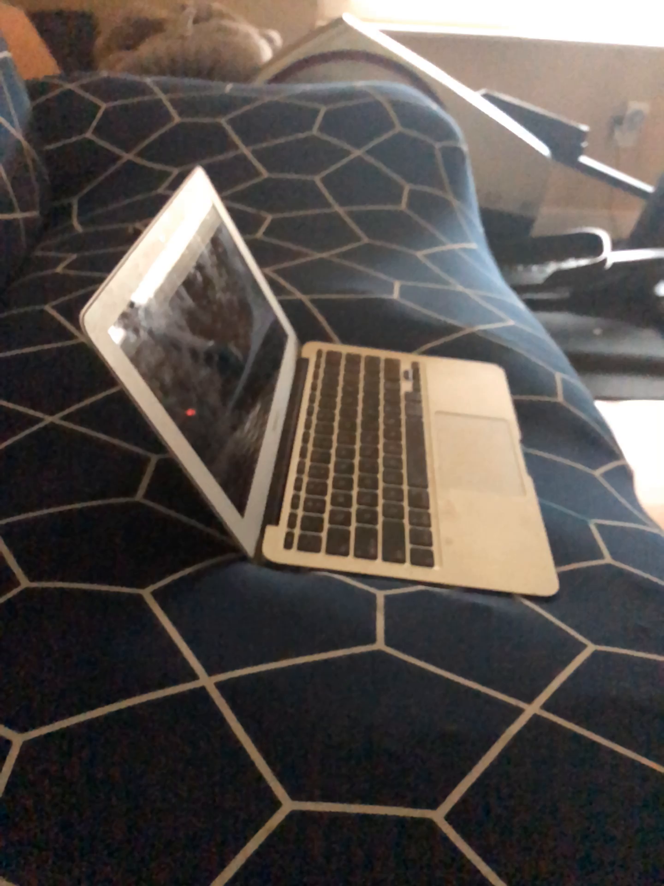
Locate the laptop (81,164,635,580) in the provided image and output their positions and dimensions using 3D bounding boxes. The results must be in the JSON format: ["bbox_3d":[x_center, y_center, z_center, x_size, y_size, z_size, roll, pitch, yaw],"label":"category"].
[{"bbox_3d":[0.018,-0.071,0.529,0.279,0.156,0.283,5,34,-1],"label":"laptop"}]
